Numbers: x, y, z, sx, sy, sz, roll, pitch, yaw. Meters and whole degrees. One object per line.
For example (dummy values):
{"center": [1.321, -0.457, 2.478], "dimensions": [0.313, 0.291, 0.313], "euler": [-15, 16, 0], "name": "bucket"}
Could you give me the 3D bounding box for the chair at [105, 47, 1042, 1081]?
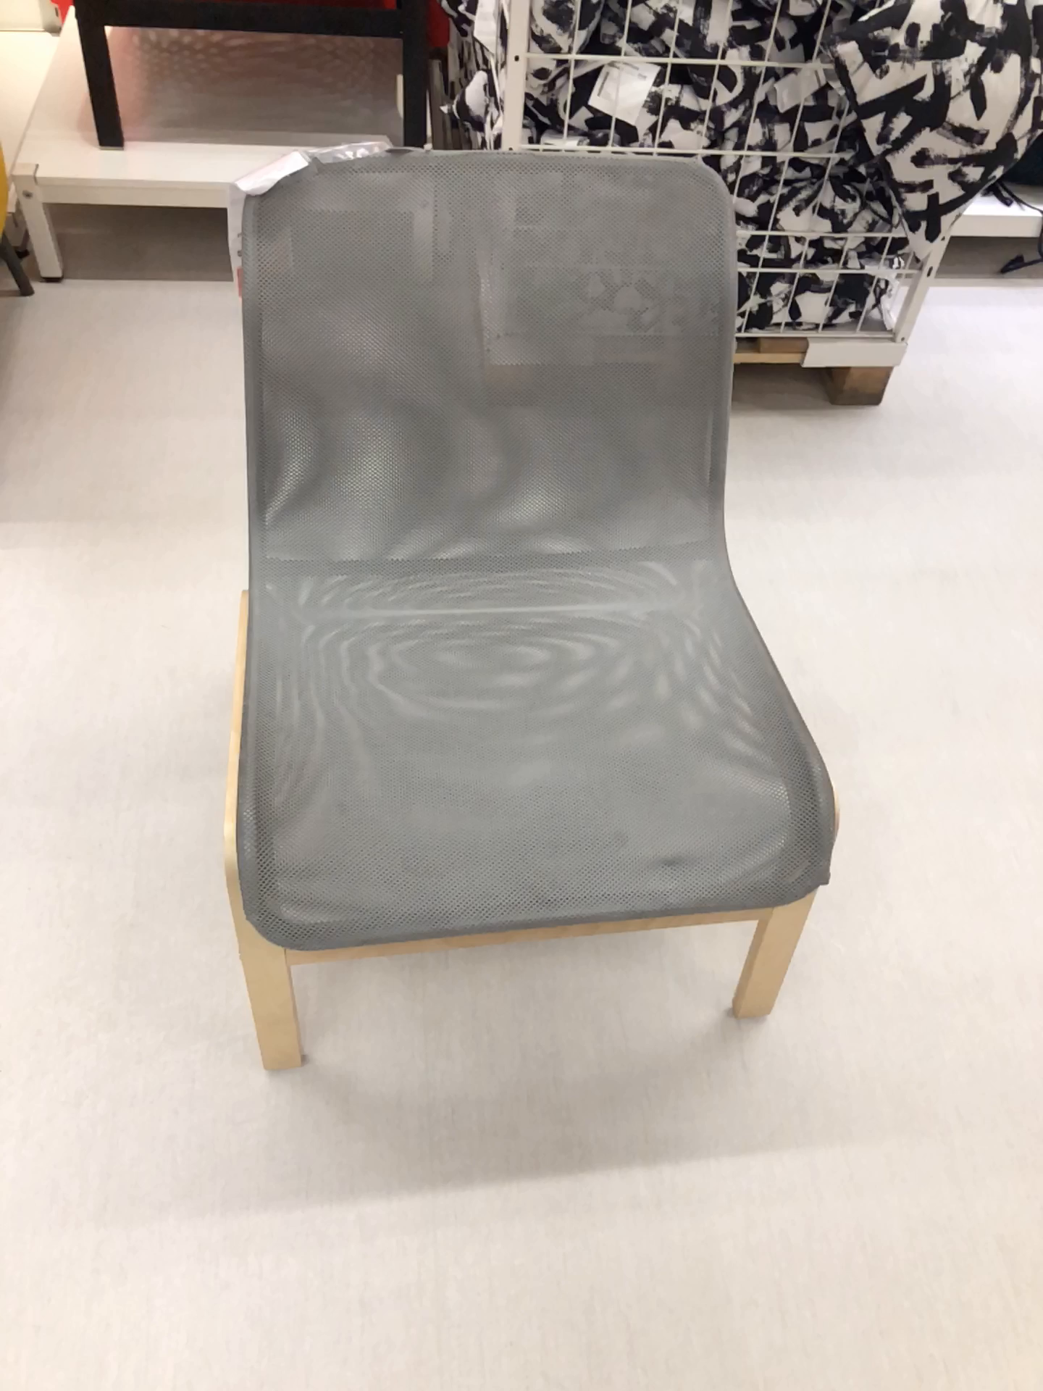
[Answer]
{"center": [0.001, -0.097, 1.201], "dimensions": [0.630, 0.825, 0.644], "euler": [-4, 52, -9], "name": "chair"}
